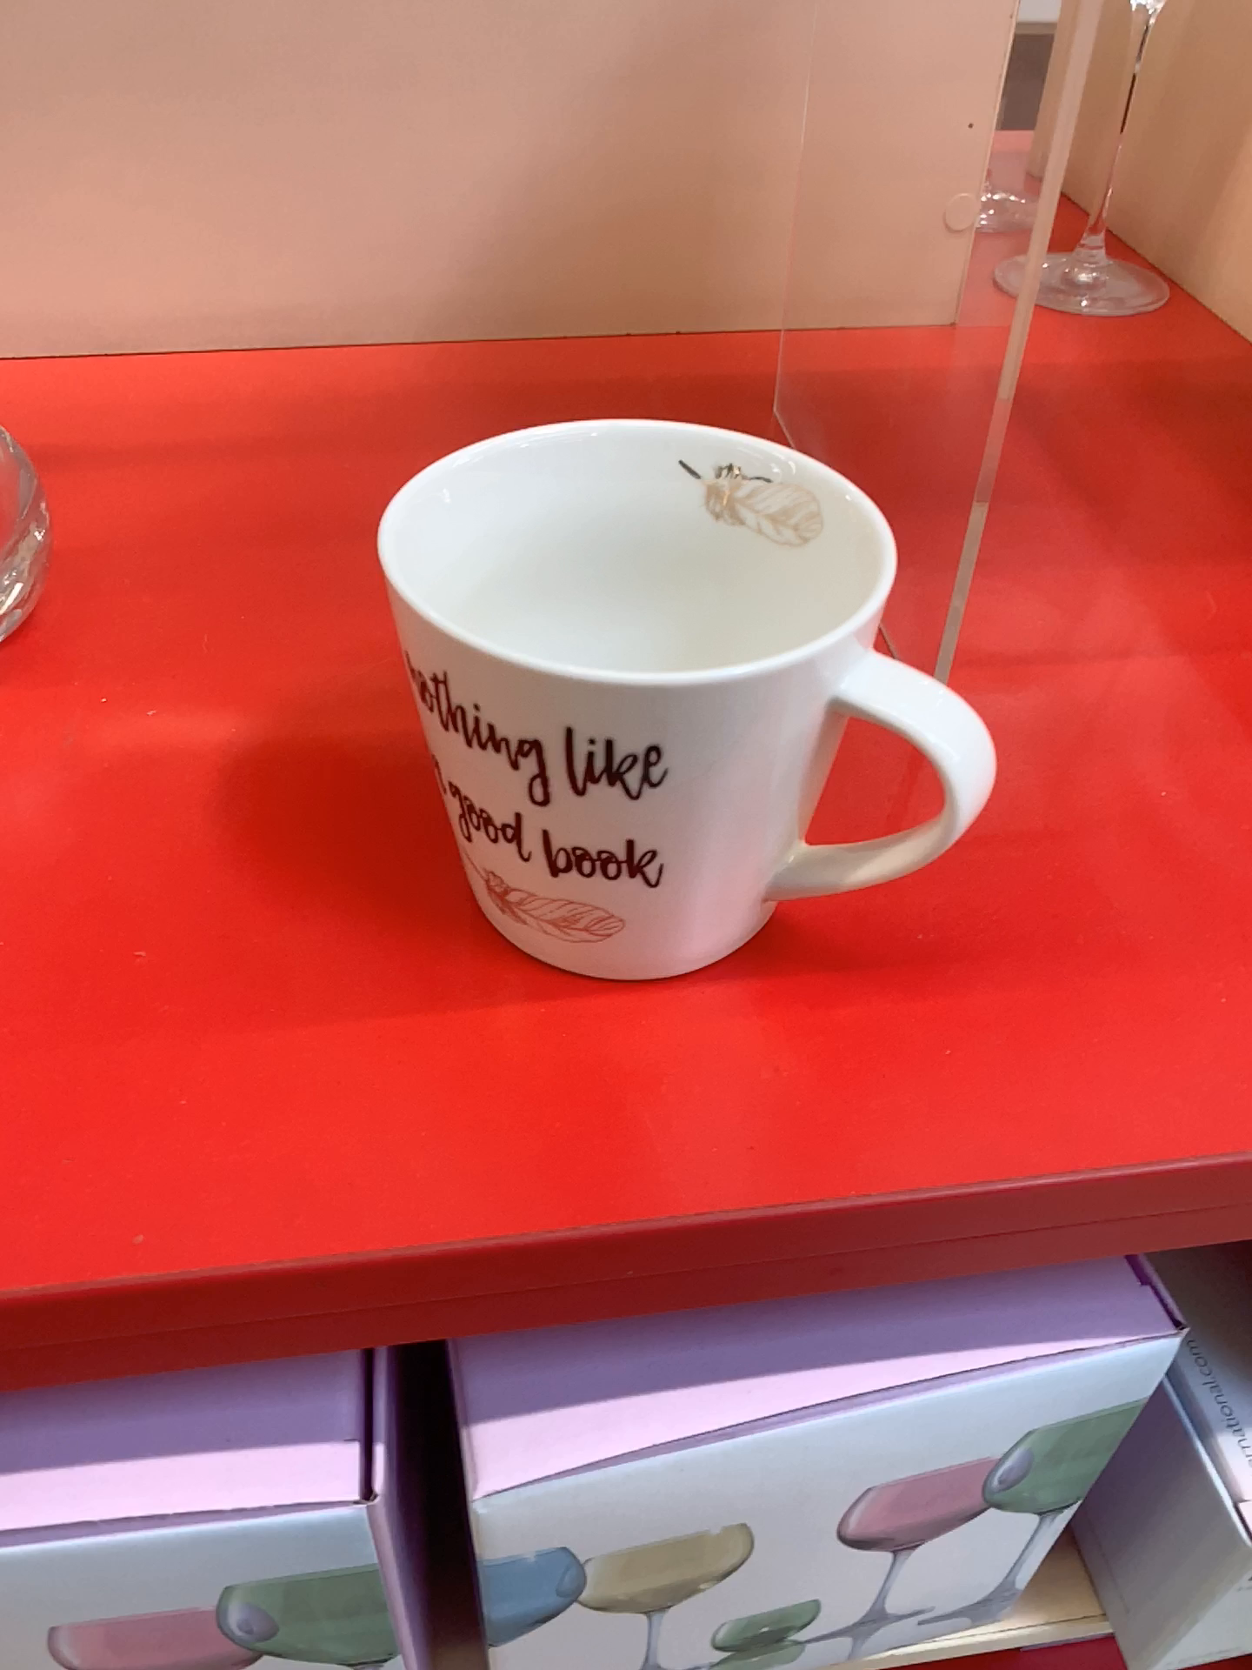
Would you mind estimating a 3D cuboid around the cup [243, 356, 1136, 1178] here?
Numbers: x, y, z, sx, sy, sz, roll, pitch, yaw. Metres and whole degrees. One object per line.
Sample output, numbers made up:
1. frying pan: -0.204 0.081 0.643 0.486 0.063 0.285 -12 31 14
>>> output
1. cup: 0.010 -0.022 0.258 0.130 0.090 0.090 26 47 25
